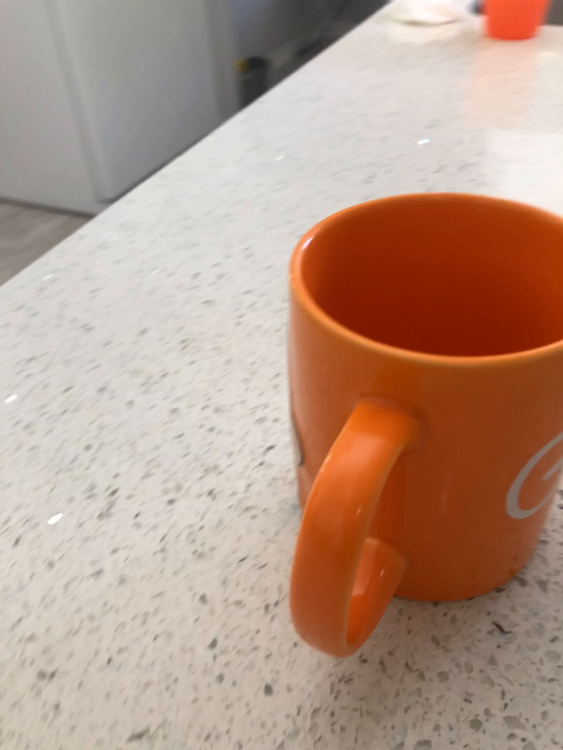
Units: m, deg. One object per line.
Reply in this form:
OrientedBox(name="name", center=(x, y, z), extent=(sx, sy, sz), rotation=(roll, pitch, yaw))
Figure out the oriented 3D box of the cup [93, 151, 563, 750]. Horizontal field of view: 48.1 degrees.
OrientedBox(name="cup", center=(0.037, 0.015, 0.179), extent=(0.090, 0.101, 0.130), rotation=(17, 45, 24))
